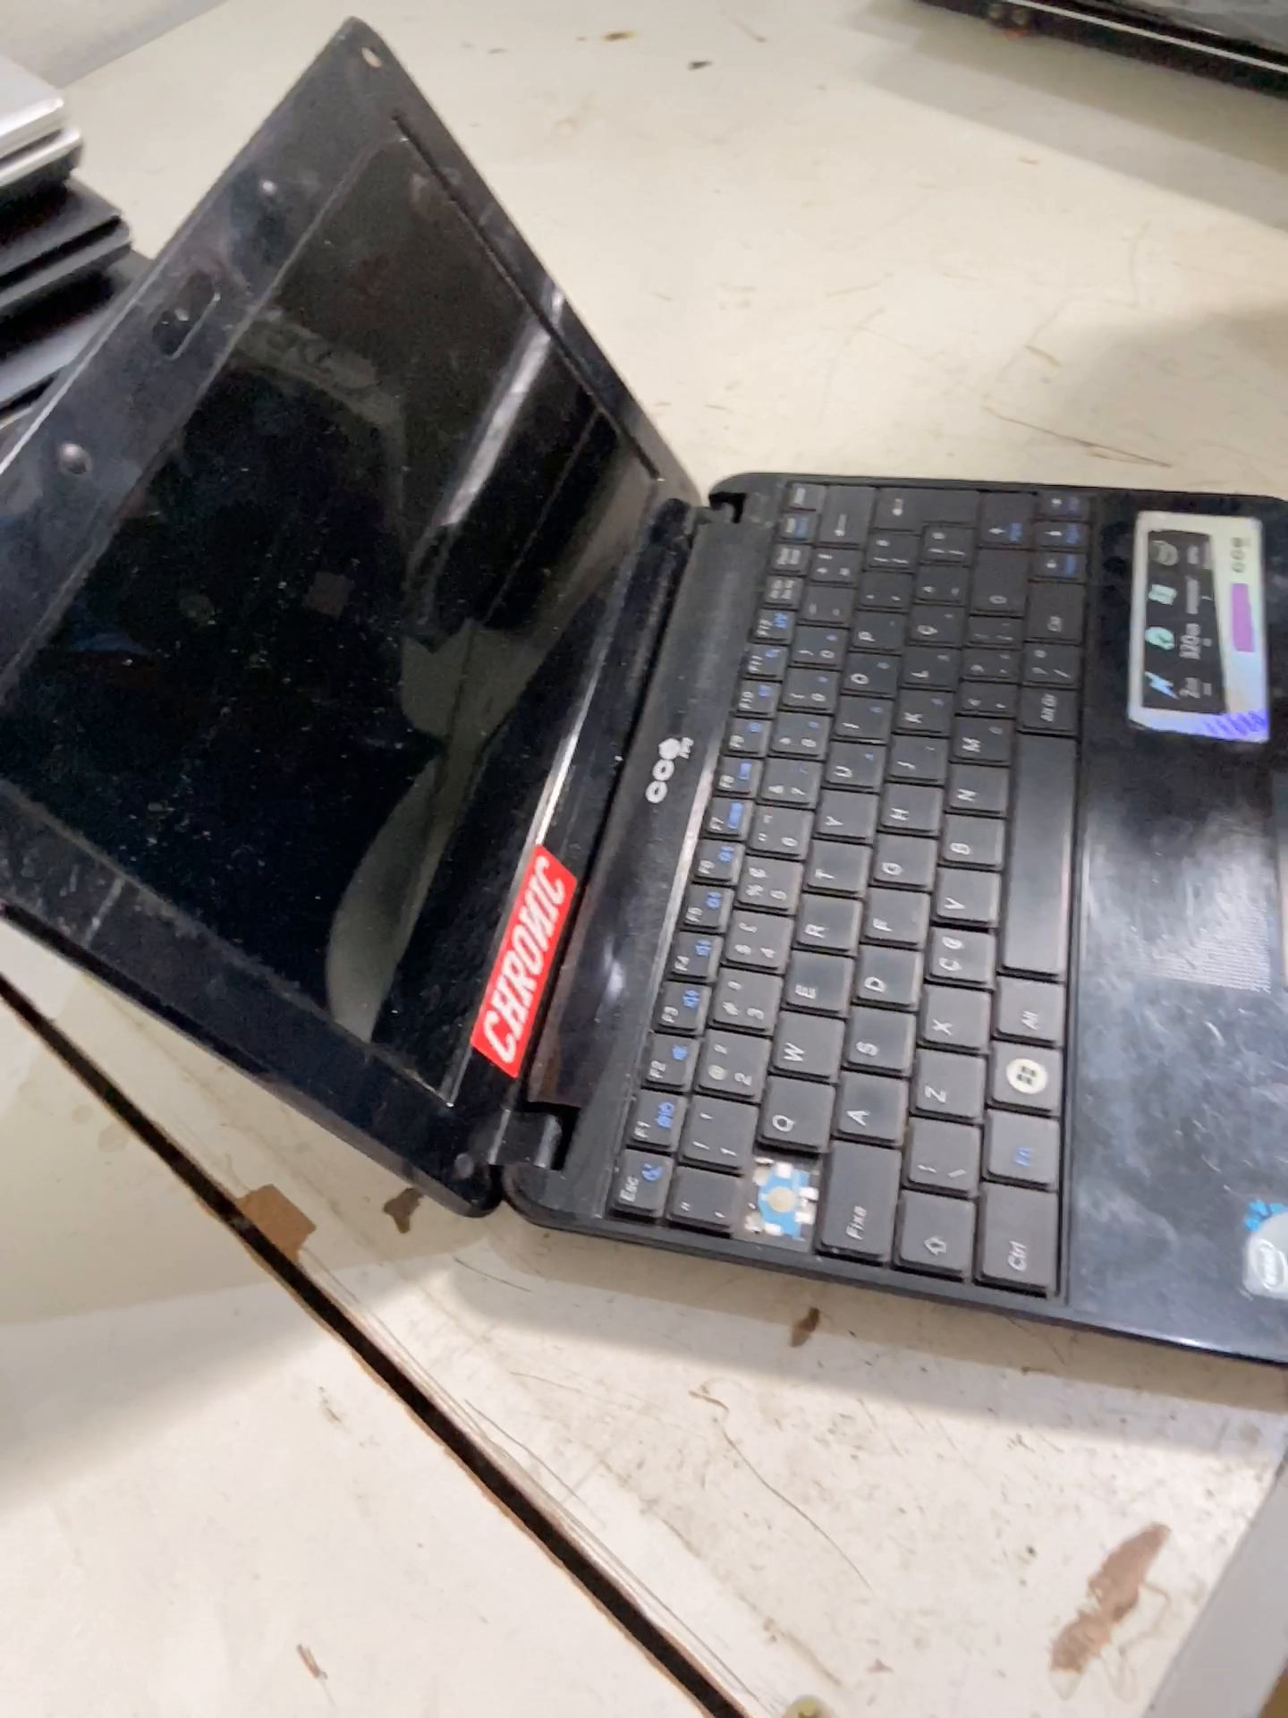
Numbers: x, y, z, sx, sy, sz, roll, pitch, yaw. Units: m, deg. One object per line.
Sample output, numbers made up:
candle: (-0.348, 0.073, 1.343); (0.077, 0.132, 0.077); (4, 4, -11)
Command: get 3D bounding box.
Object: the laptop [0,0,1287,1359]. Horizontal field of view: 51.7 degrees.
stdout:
laptop: (0.033, -0.061, 0.301); (0.257, 0.137, 0.254); (7, 55, 13)
